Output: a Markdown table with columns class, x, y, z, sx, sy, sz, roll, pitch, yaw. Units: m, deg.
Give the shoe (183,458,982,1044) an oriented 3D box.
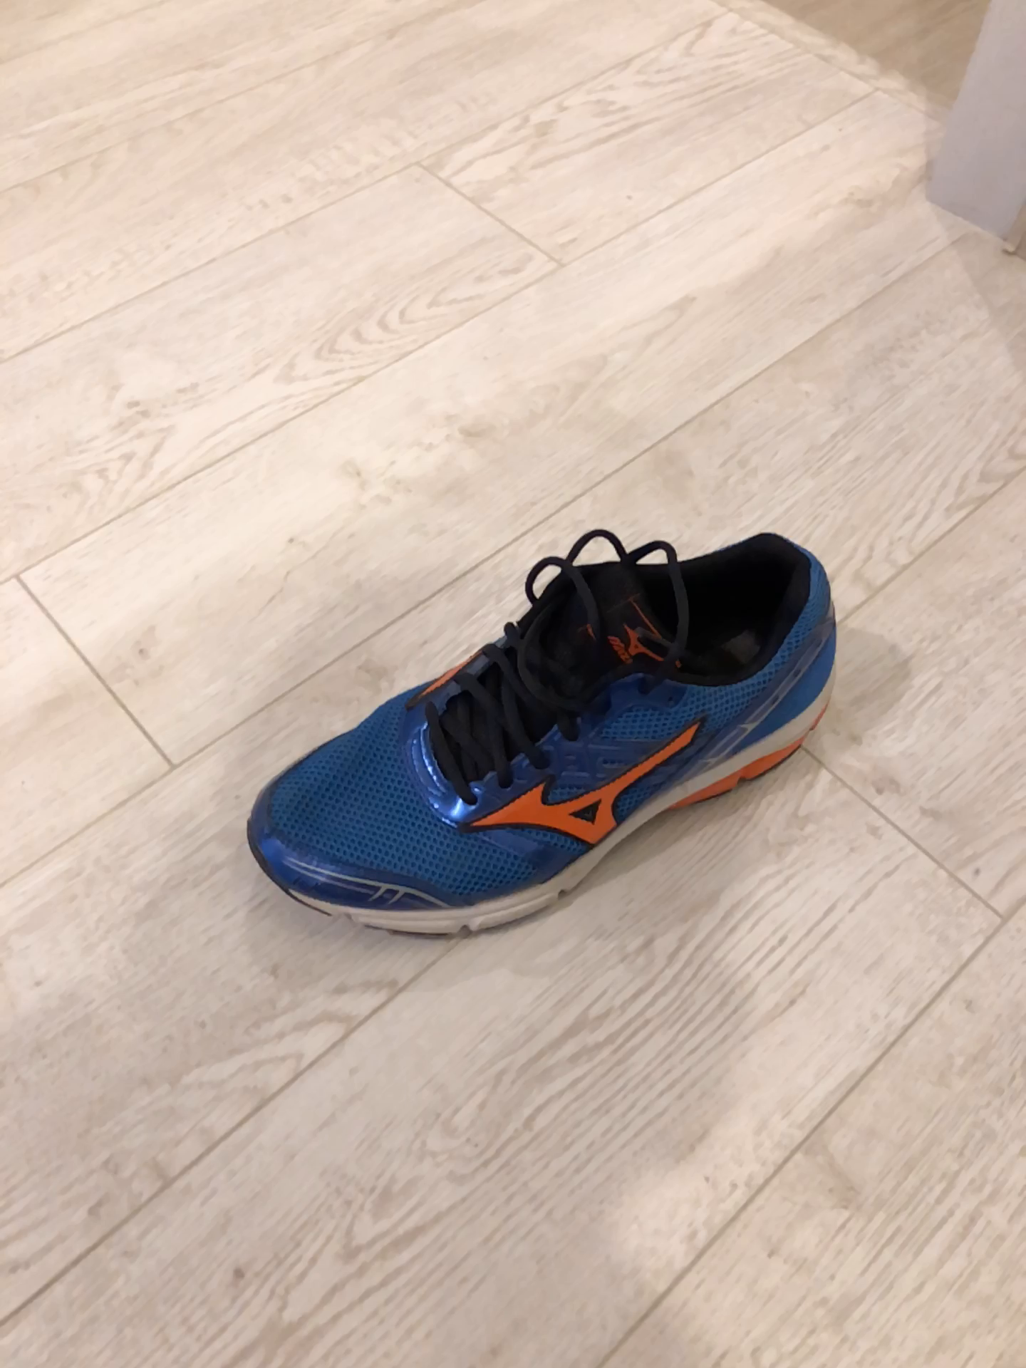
| class | x | y | z | sx | sy | sz | roll | pitch | yaw |
| --- | --- | --- | --- | --- | --- | --- | --- | --- | --- |
| shoe | 0.030 | 0.025 | 0.501 | 0.300 | 0.119 | 0.117 | -21 | 59 | -15 |
